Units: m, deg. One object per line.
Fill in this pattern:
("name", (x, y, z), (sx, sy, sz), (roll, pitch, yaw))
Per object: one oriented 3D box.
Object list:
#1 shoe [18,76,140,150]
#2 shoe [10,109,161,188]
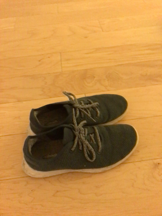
("shoe", (-0.007, 0.012, 0.510), (0.310, 0.099, 0.101), (-14, 52, -7))
("shoe", (0.008, 0.100, 0.436), (0.320, 0.099, 0.101), (-10, 52, -4))
